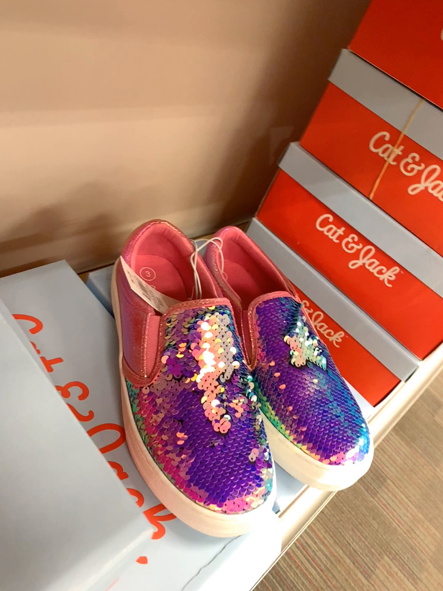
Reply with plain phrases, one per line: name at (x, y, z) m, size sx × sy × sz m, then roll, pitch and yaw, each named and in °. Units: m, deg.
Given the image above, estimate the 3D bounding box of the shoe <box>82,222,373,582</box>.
shoe at (-0.013, 0.049, 0.306) m, size 0.100 × 0.074 × 0.211 m, roll -6°, pitch 51°, yaw -31°

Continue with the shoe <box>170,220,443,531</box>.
shoe at (0.057, 0.044, 0.347) m, size 0.090 × 0.074 × 0.210 m, roll -13°, pitch 55°, yaw -36°
